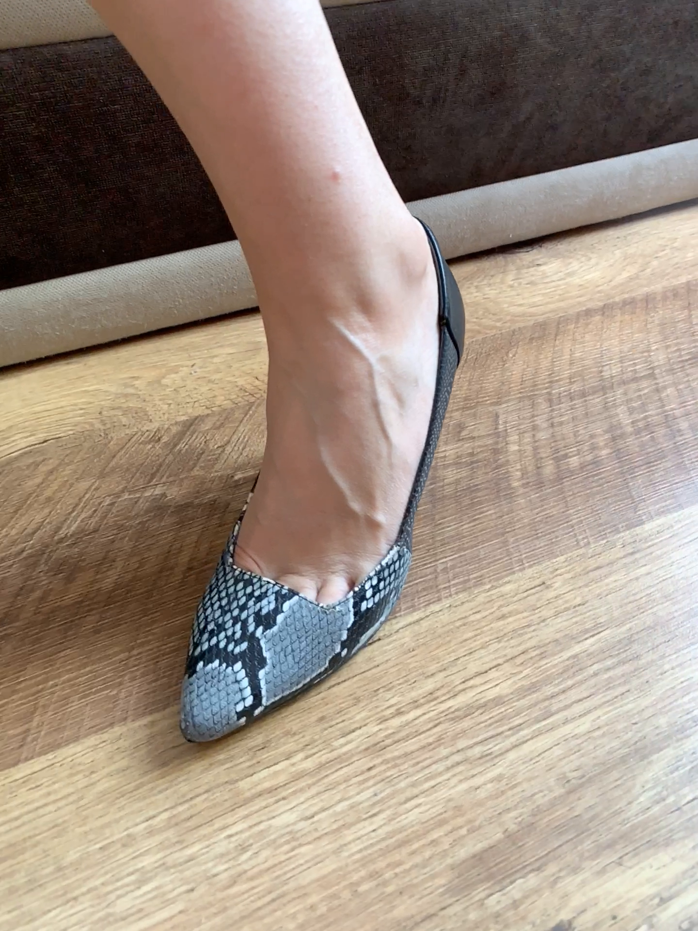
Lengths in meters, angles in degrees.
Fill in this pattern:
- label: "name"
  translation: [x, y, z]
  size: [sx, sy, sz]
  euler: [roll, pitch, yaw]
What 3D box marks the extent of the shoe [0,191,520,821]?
- label: "shoe"
  translation: [-0.014, -0.010, 0.304]
  size: [0.090, 0.109, 0.251]
  euler: [17, 46, 20]
